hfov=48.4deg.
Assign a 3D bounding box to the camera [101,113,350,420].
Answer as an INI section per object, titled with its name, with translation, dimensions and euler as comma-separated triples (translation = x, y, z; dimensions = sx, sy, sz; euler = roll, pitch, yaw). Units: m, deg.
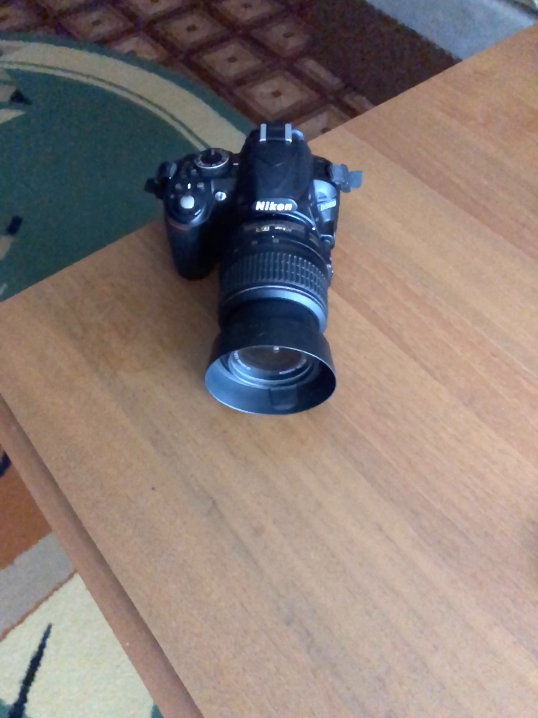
[camera]
translation = -0.017, -0.066, 0.398
dimensions = 0.129, 0.092, 0.183
euler = 3, 56, 3
